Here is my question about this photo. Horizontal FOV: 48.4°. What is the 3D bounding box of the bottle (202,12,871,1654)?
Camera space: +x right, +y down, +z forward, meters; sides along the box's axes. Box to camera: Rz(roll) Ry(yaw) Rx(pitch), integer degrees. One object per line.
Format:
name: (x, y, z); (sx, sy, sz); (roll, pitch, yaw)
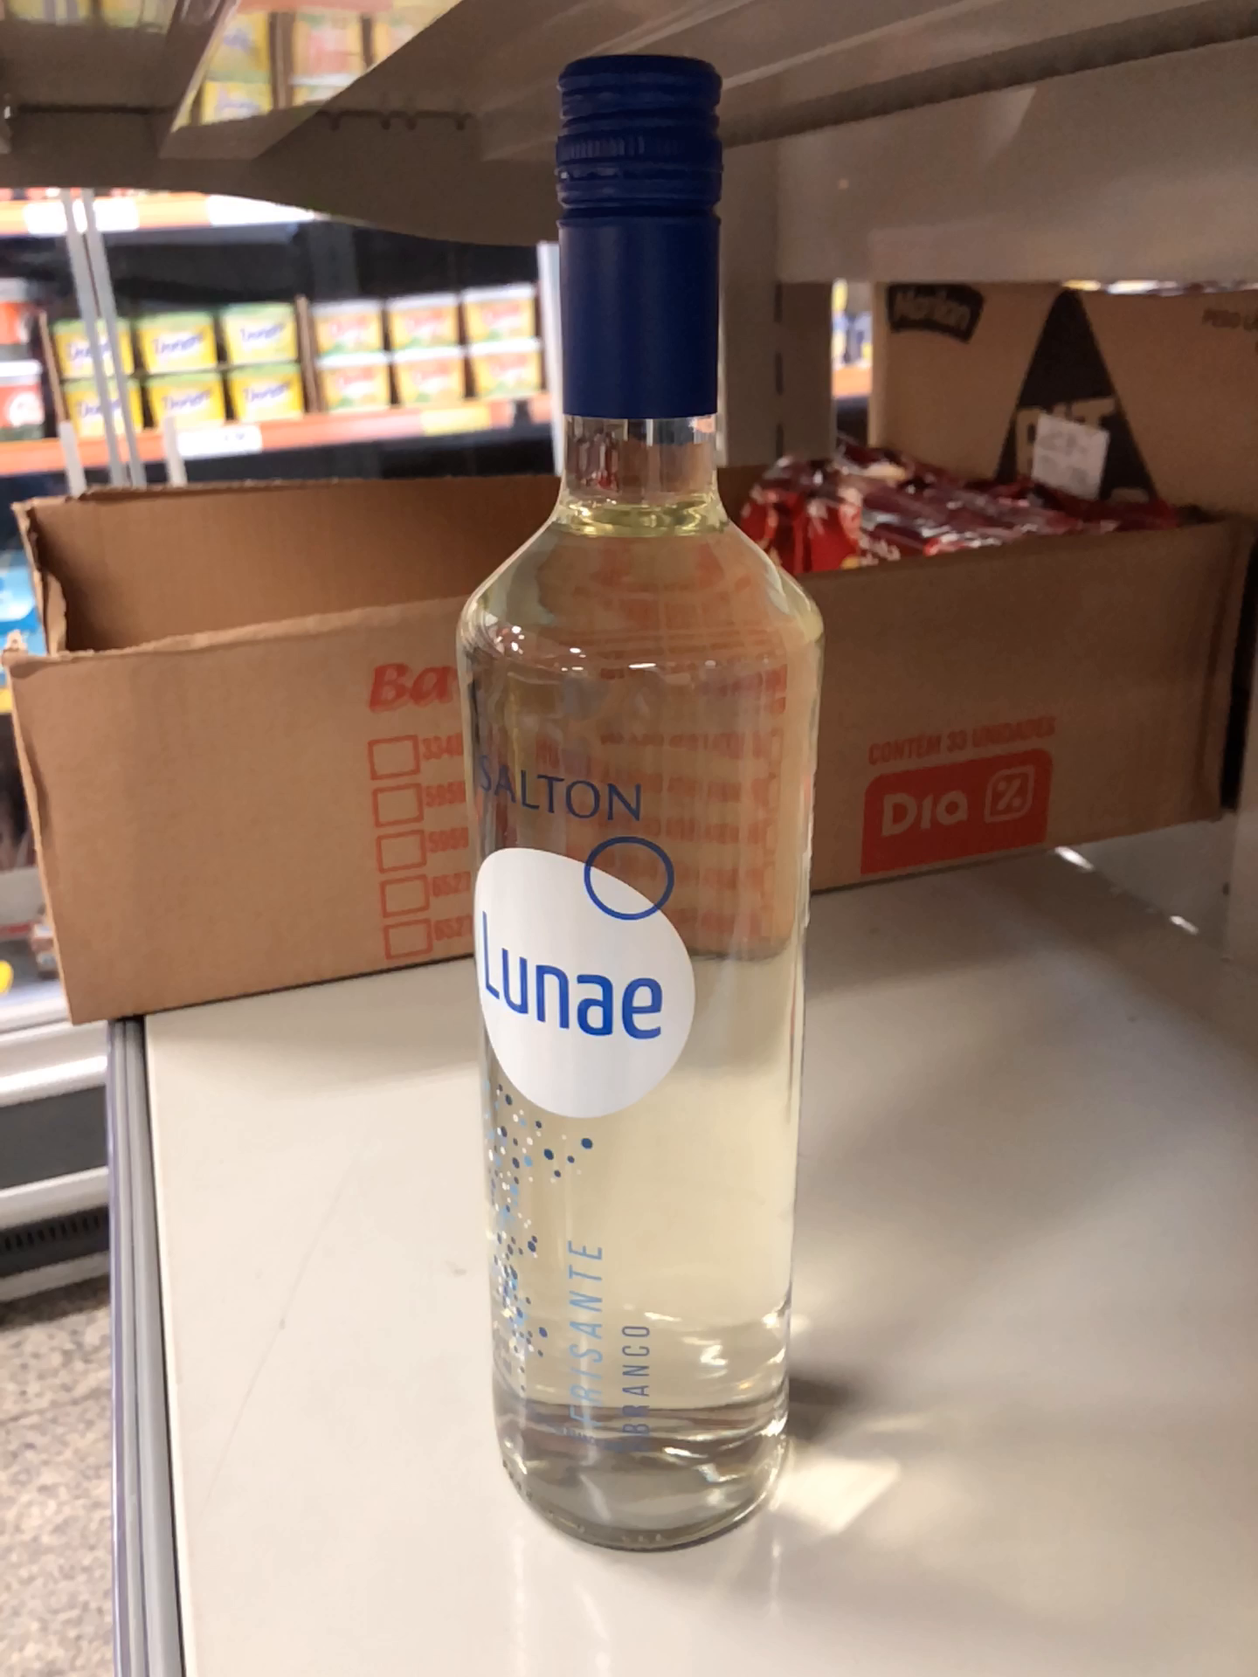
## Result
bottle: (-0.003, 0.012, 0.294); (0.080, 0.308, 0.080); (-4, 22, 1)
